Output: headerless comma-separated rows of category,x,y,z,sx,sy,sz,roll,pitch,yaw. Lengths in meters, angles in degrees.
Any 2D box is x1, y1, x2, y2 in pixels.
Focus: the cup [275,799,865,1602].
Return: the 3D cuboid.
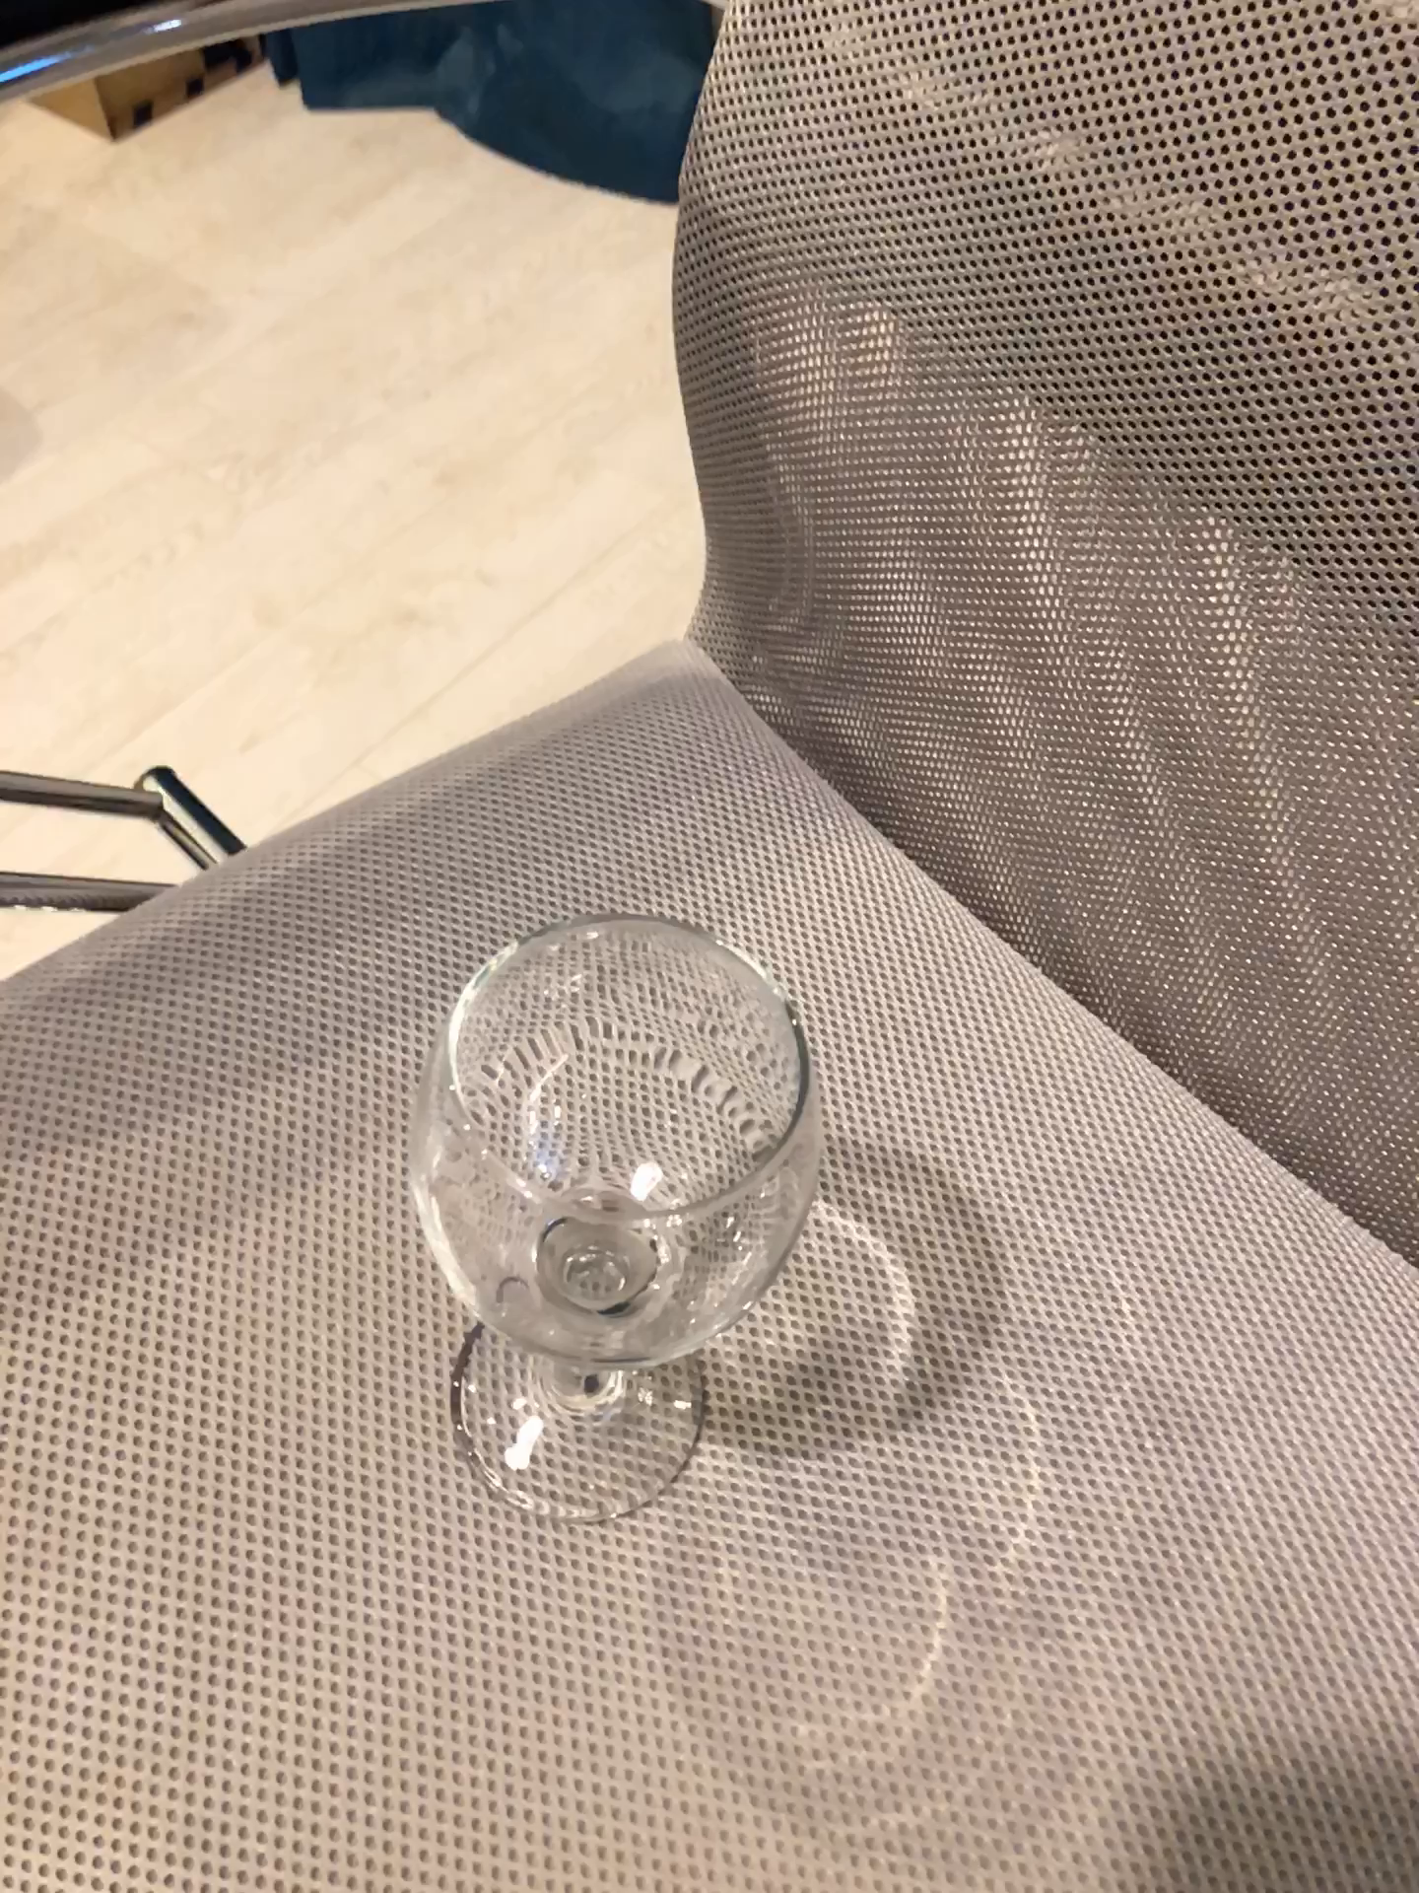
cup,-0.021,0.065,0.338,0.080,0.172,0.089,11,54,7
